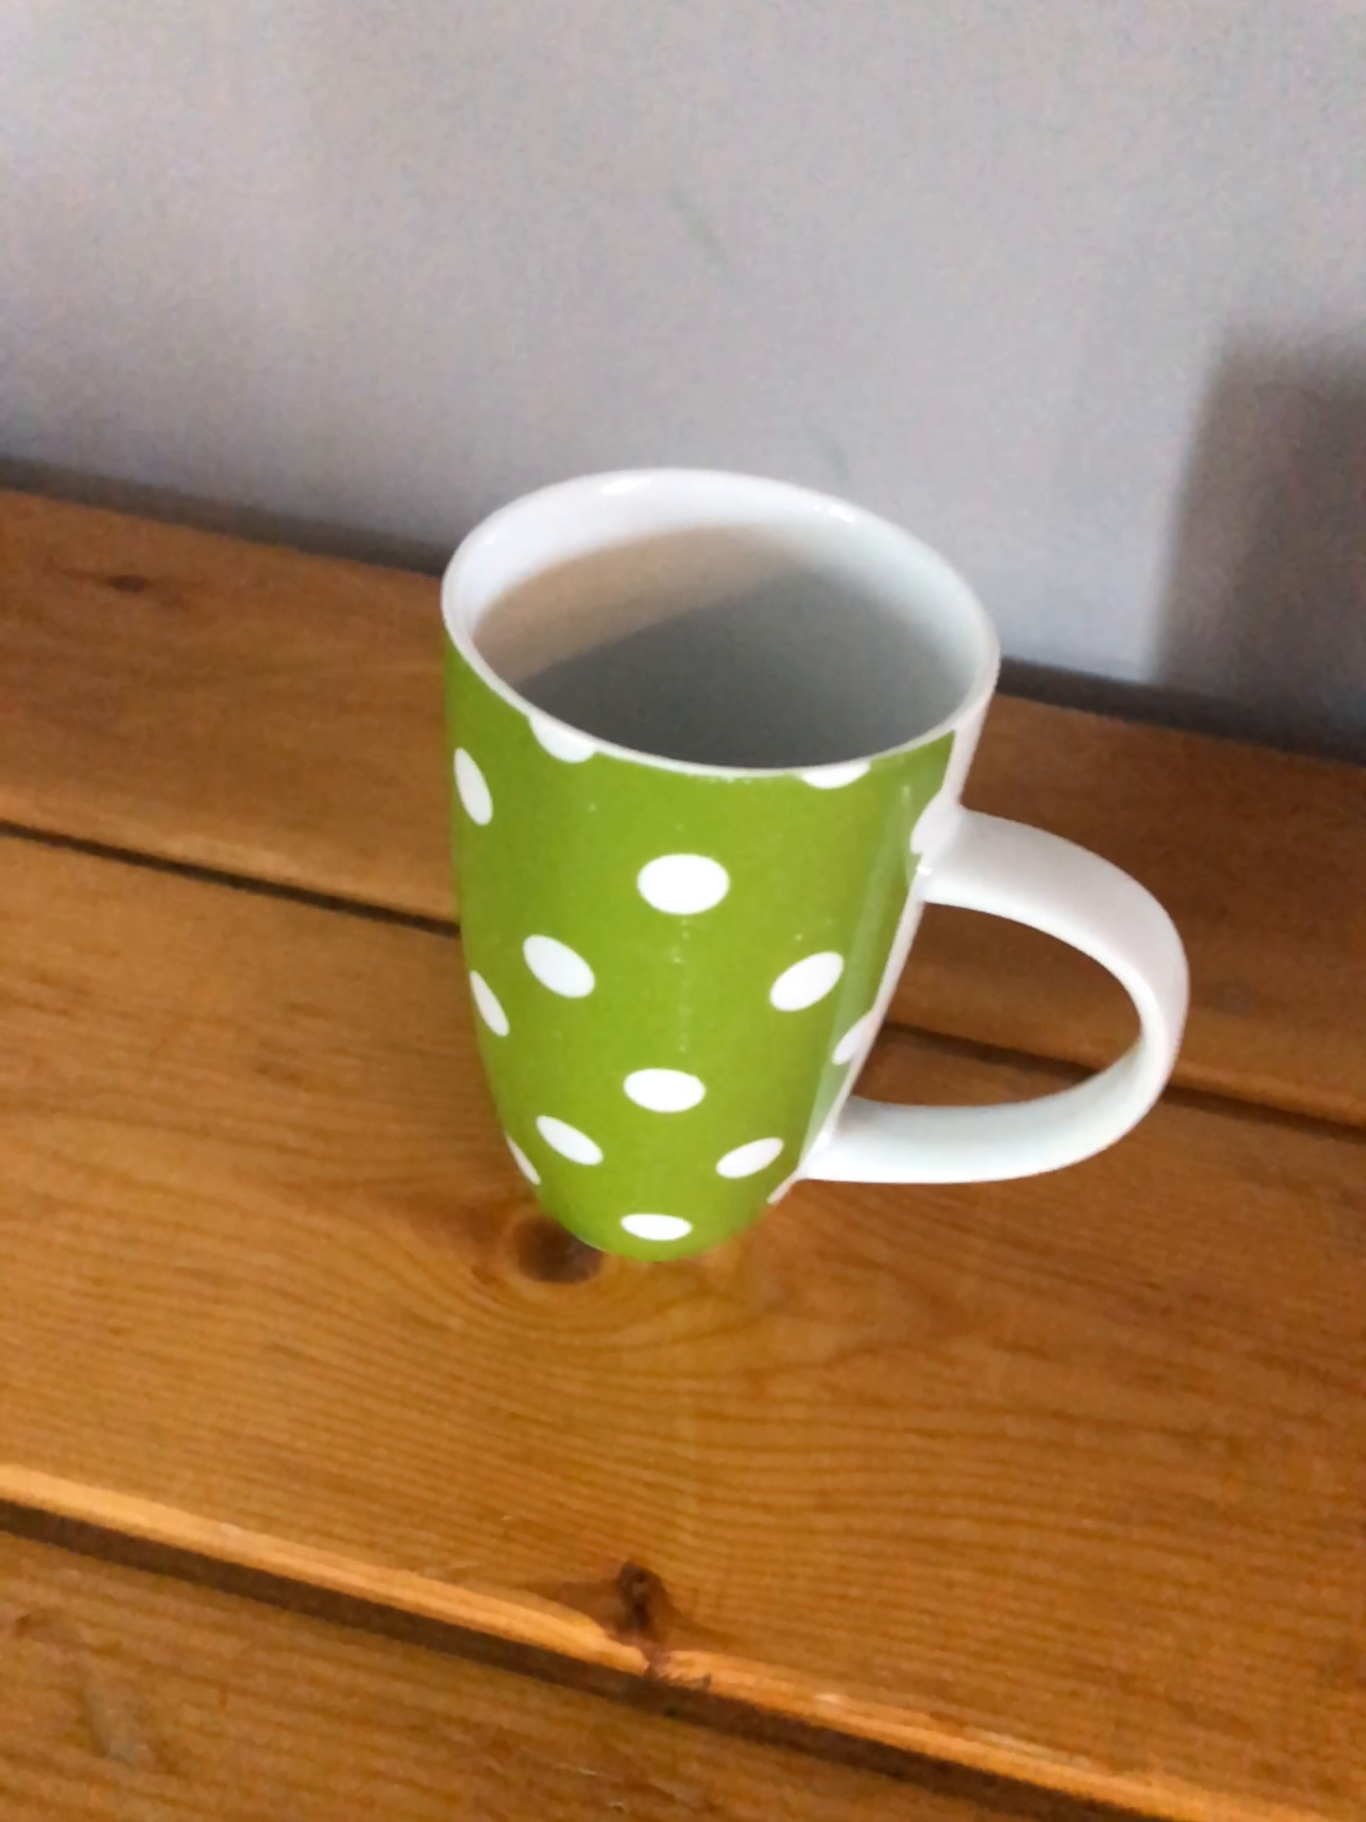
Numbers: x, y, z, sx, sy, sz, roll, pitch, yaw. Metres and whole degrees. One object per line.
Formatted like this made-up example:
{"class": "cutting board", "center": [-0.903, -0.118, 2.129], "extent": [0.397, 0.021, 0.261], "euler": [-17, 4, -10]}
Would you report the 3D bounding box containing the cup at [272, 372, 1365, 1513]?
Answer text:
{"class": "cup", "center": [0.024, 0.008, 0.287], "extent": [0.150, 0.150, 0.100], "euler": [19, 48, 12]}
